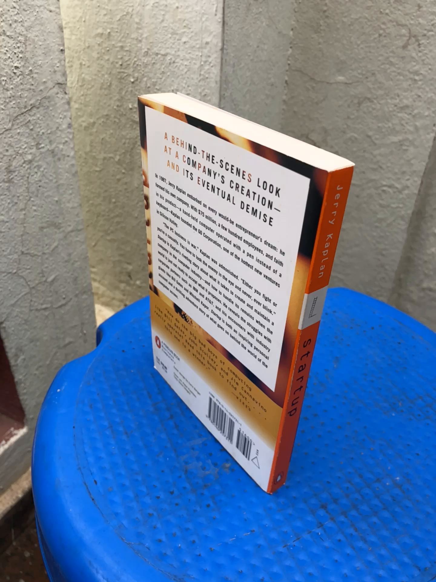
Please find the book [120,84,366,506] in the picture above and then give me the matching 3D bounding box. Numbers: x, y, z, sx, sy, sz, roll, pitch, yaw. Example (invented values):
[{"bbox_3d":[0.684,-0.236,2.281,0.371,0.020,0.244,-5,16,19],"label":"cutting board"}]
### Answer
[{"bbox_3d":[-0.003,0.003,0.278,0.030,0.199,0.140,-21,41,-32],"label":"book"}]
